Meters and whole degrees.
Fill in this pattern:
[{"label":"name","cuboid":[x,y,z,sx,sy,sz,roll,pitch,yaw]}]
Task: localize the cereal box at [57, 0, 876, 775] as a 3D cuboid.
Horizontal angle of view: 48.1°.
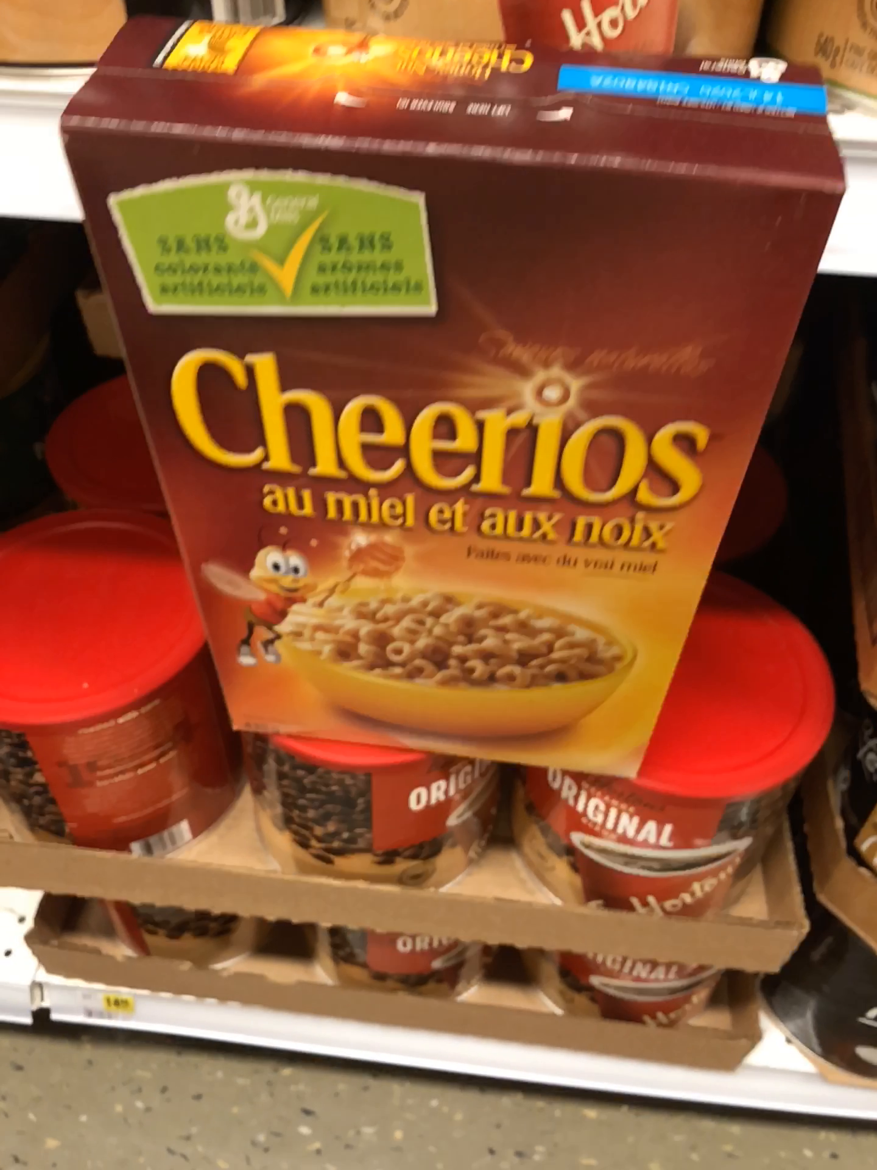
[{"label":"cereal box","cuboid":[0.010,-0.040,0.360,0.200,0.289,0.060,6,51,5]}]
